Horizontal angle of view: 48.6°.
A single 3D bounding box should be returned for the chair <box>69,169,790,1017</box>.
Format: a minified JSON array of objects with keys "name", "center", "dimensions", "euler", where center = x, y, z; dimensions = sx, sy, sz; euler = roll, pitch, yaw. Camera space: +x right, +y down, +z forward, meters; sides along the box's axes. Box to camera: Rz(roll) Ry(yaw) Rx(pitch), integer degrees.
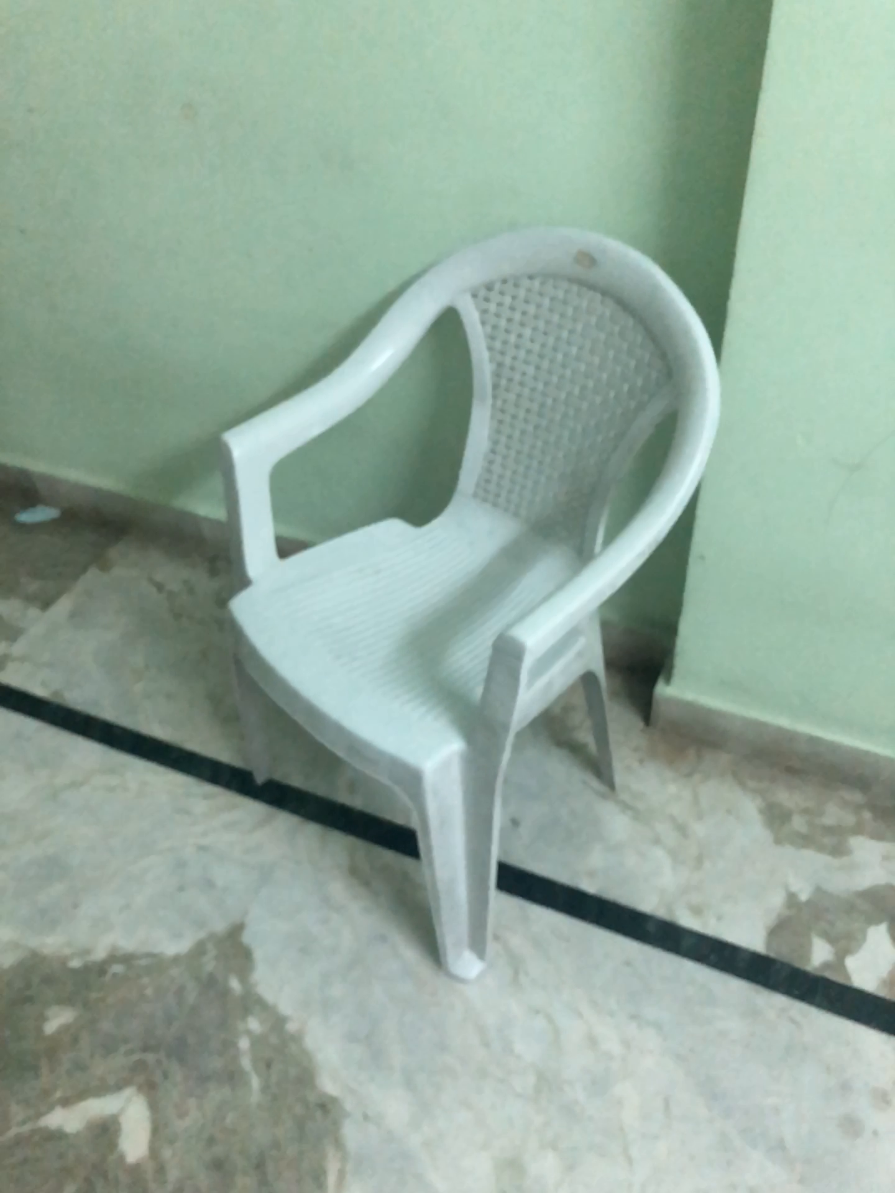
[{"name":"chair","center":[-0.009,-0.002,1.307],"dimensions":[0.531,0.825,0.532],"euler":[-32,50,-27]}]
